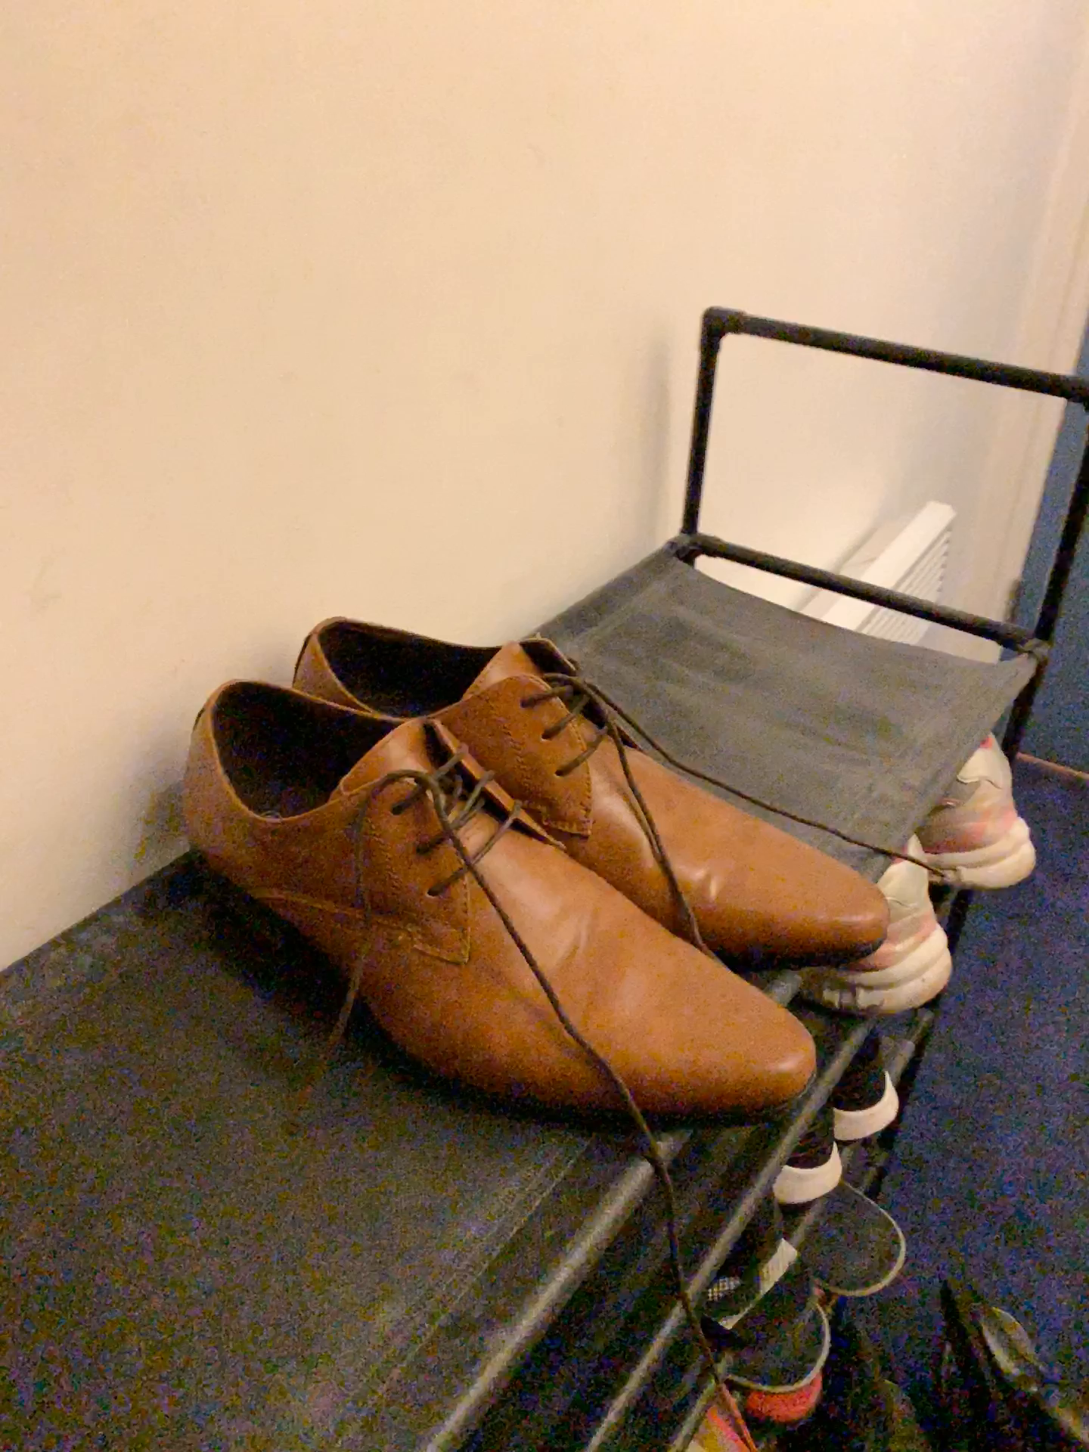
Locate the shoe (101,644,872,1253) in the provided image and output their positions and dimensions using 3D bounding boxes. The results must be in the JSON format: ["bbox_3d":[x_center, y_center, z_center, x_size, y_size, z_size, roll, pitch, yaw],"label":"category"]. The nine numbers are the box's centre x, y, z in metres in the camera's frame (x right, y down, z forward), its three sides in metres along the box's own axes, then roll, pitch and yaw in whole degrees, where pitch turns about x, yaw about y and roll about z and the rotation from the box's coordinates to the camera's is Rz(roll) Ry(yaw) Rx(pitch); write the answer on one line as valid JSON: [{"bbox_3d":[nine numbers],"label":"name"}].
[{"bbox_3d":[-0.035,0.071,0.464,0.301,0.099,0.101,20,37,28],"label":"shoe"}]

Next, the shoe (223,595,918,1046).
[{"bbox_3d":[0.007,0.032,0.533,0.300,0.099,0.101,15,35,21],"label":"shoe"}]
